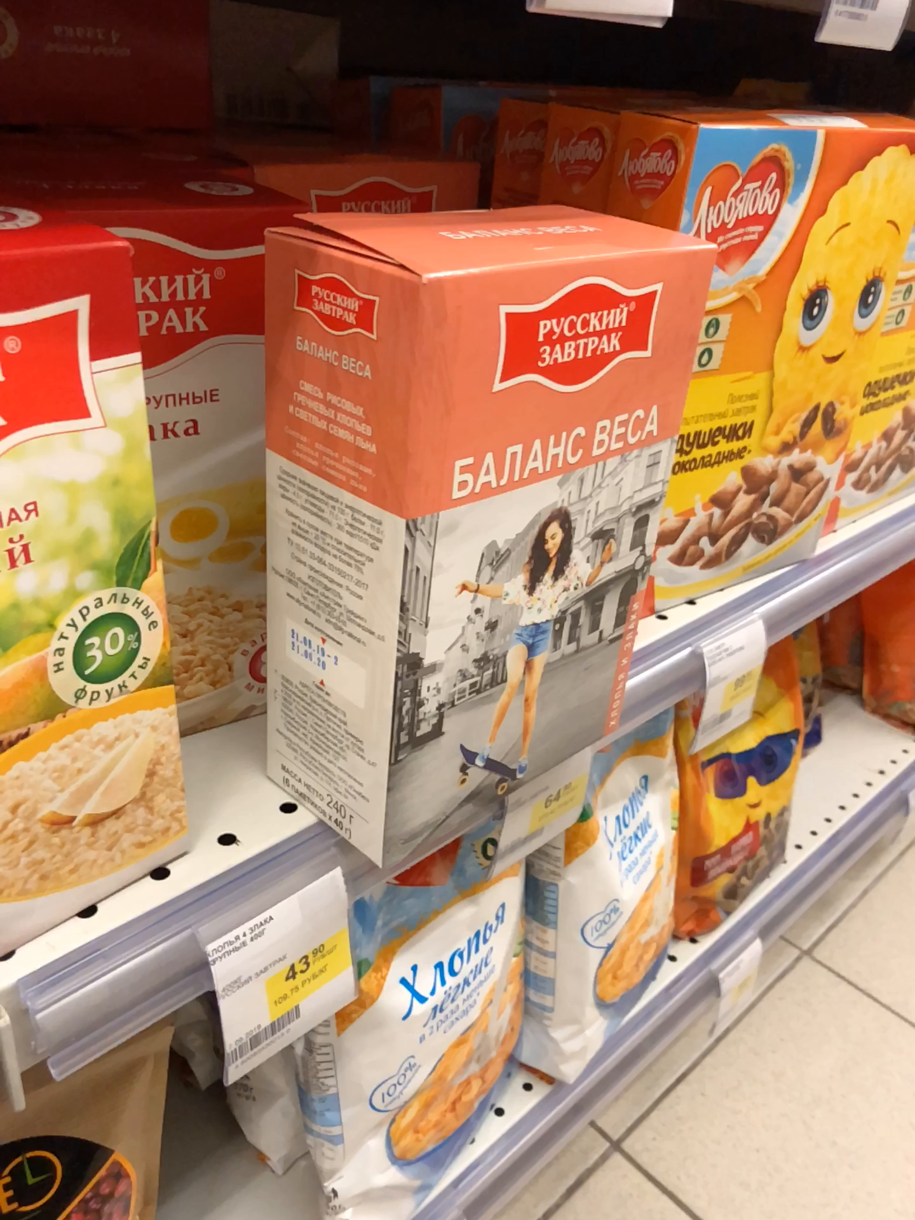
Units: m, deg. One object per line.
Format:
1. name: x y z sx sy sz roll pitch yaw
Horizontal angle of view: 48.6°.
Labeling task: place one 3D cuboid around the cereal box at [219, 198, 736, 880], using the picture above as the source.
1. cereal box: 0.004 -0.031 0.331 0.070 0.179 0.140 29 37 35
